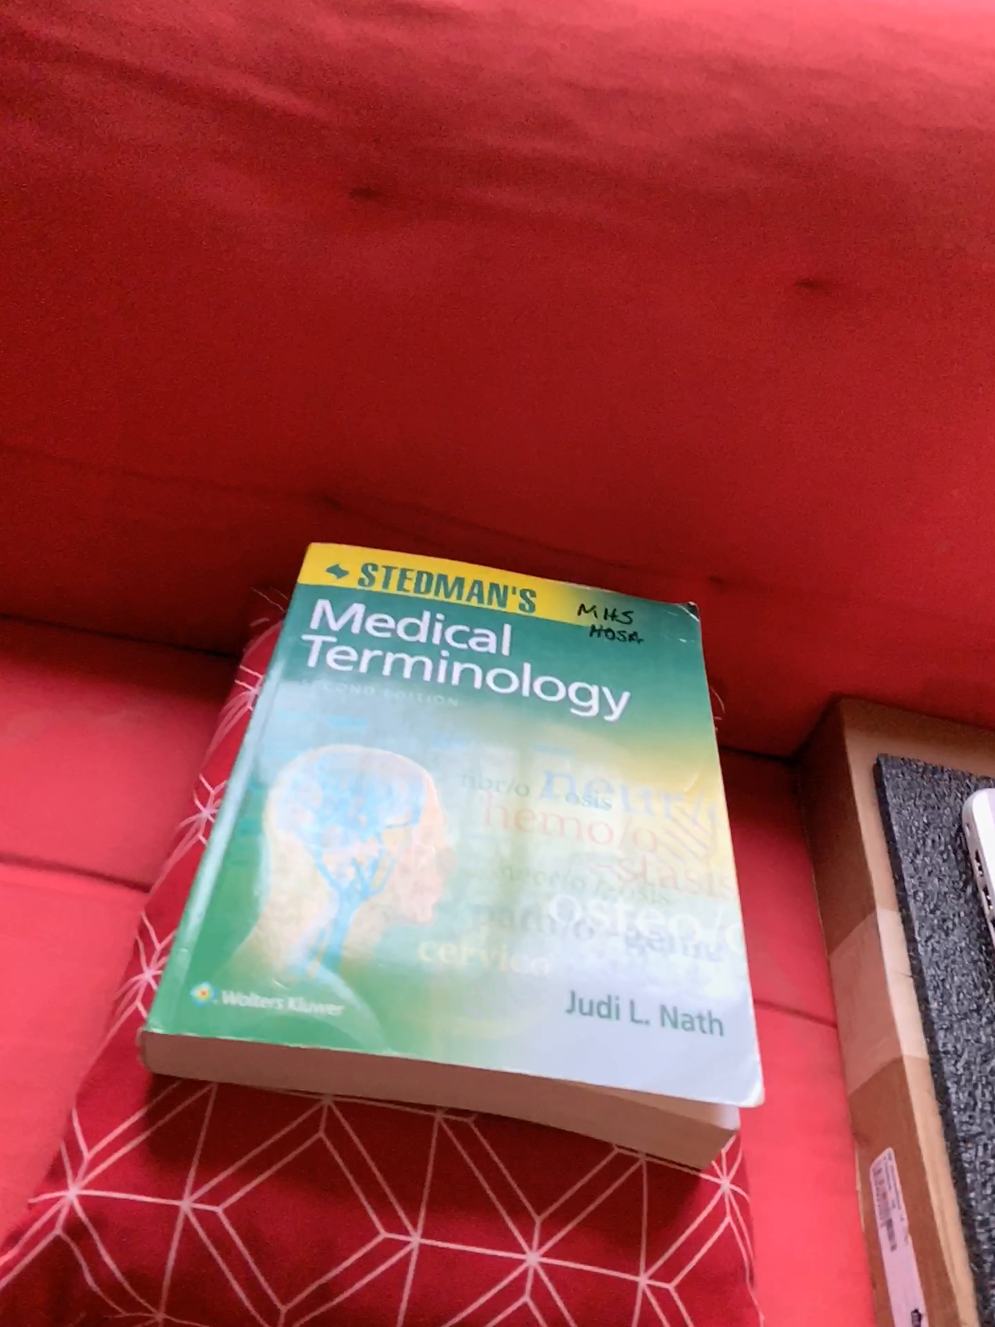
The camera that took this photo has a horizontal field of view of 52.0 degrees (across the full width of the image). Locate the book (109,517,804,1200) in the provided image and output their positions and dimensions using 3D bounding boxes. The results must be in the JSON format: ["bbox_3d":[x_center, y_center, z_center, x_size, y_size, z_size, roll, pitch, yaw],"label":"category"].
[{"bbox_3d":[-0.004,0.061,0.468,0.240,0.040,0.301,11,43,-5],"label":"book"}]
